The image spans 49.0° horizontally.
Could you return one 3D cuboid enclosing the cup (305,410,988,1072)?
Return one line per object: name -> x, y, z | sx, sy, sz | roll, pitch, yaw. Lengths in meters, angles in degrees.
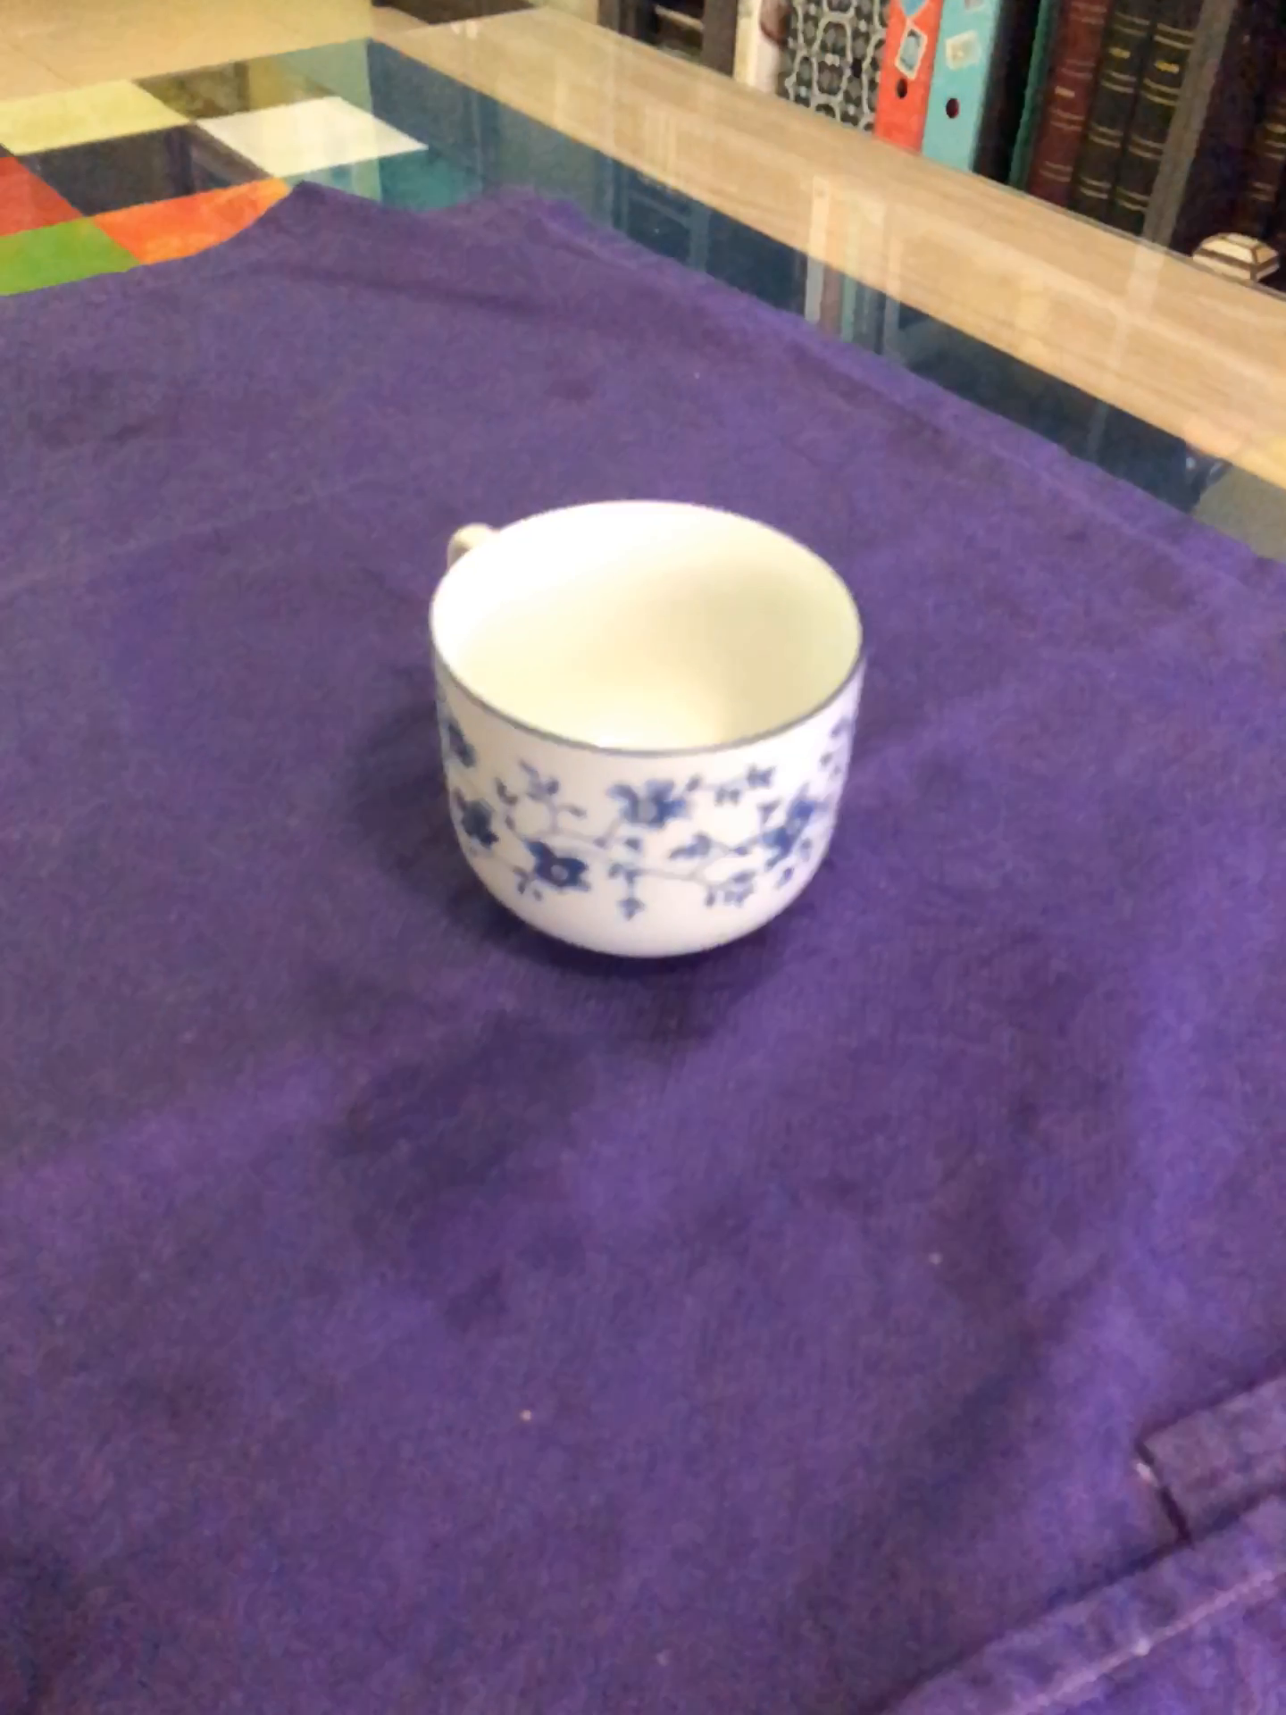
cup -> -0.003, -0.027, 0.264 | 0.070, 0.060, 0.100 | -29, 52, -28
